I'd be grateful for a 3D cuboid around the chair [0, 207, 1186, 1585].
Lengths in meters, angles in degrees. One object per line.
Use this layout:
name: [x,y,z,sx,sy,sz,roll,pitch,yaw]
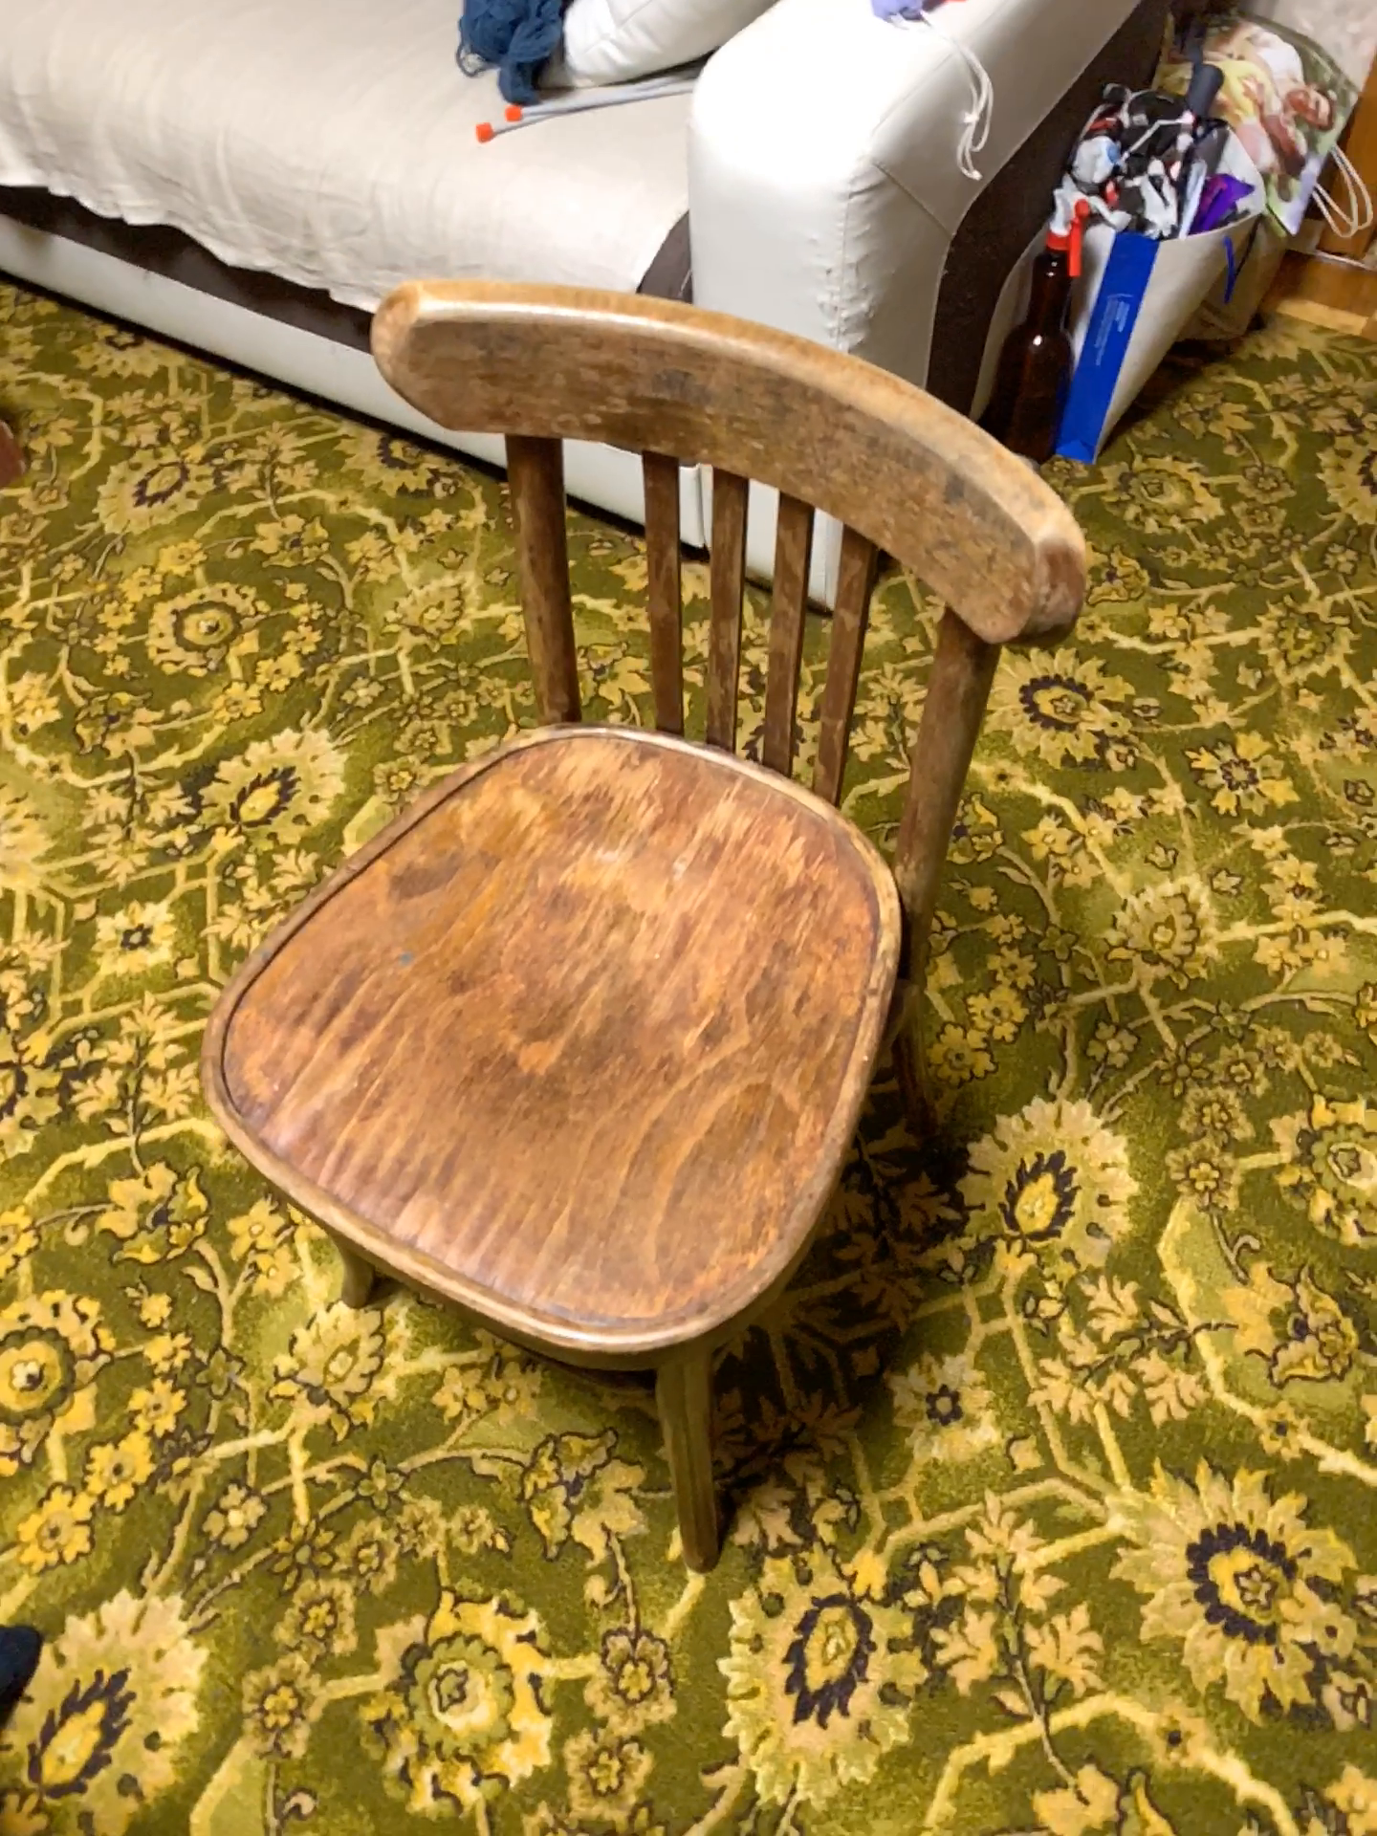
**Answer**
chair: [-0.049,0.061,0.885,0.400,0.735,0.412,29,63,20]
